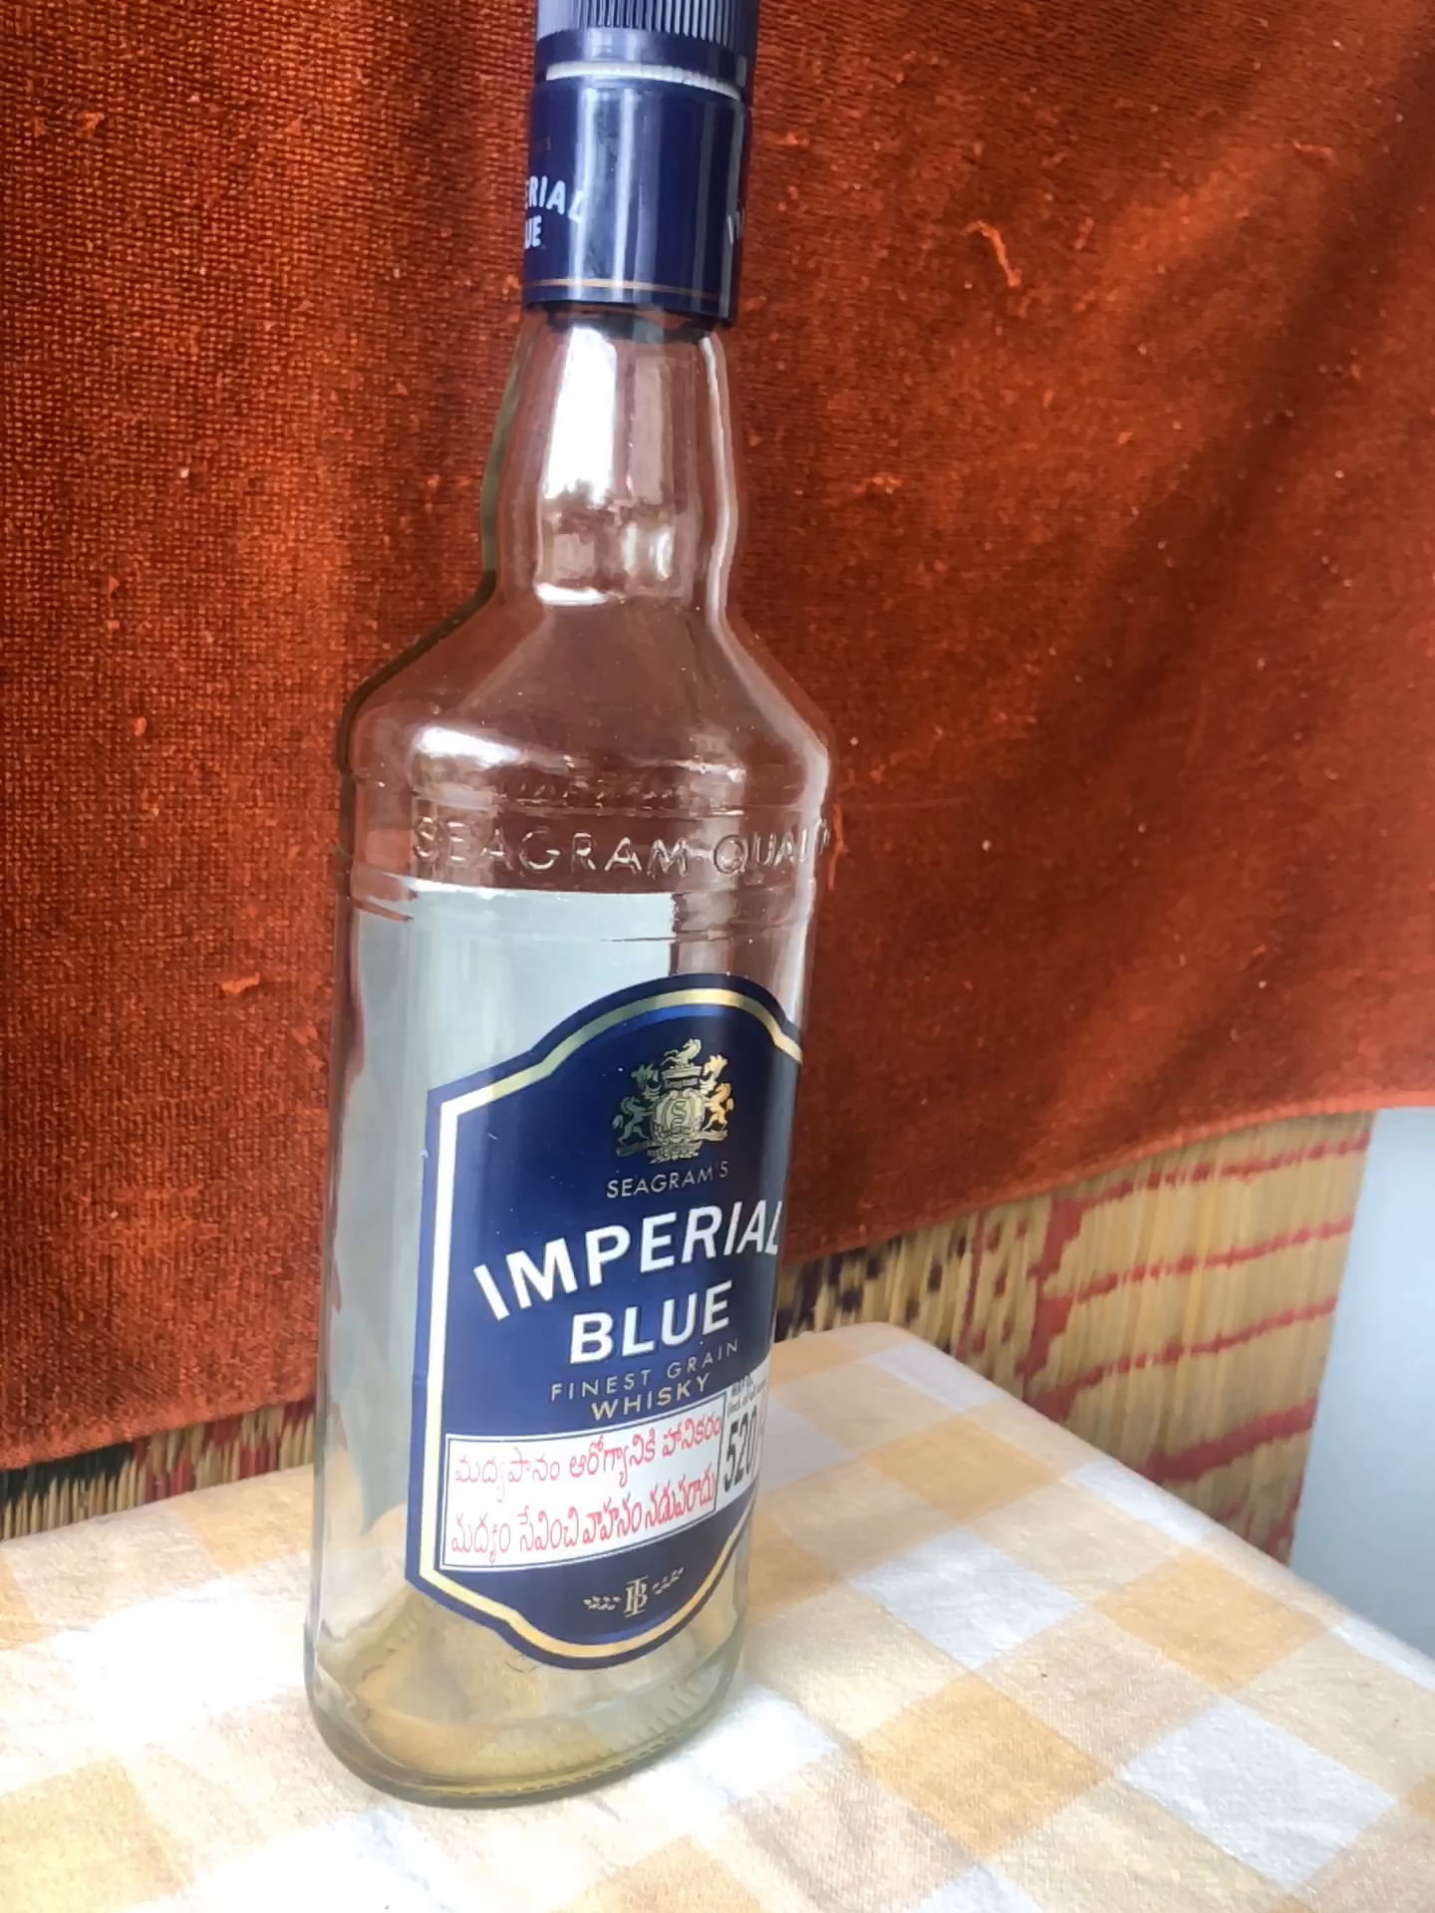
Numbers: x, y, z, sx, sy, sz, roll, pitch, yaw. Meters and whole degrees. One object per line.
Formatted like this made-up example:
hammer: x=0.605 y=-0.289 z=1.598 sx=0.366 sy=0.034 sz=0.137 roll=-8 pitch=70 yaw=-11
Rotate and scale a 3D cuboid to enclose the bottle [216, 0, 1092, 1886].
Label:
bottle: x=-0.021 y=-0.015 z=0.266 sx=0.090 sy=0.309 sz=0.070 roll=-2 pitch=16 yaw=-32
